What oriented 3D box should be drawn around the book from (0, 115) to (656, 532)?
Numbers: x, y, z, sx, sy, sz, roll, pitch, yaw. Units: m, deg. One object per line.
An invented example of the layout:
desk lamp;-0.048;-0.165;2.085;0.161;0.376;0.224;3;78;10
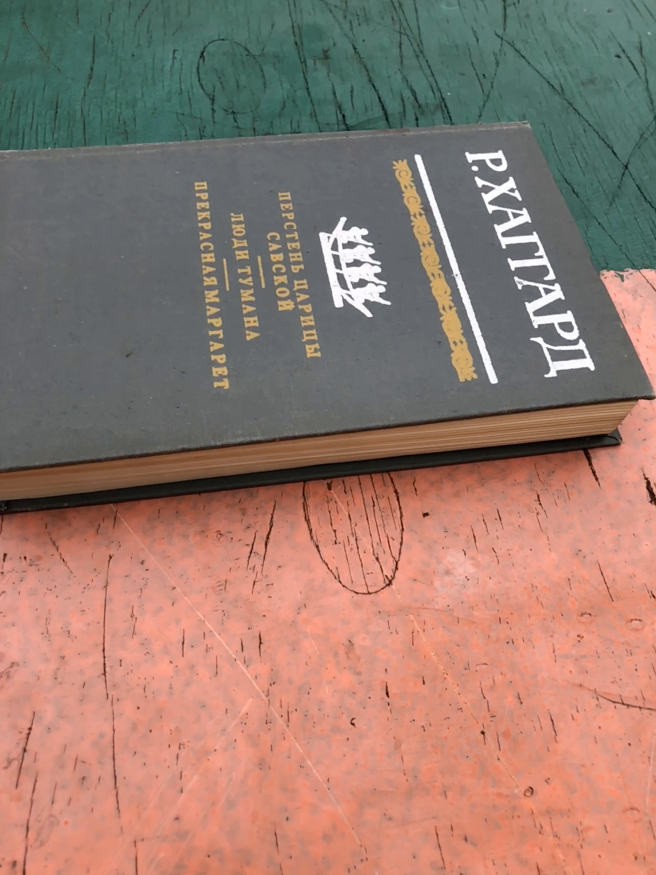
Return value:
book;-0.005;-0.053;0.267;0.221;0.030;0.151;-6;59;-7
